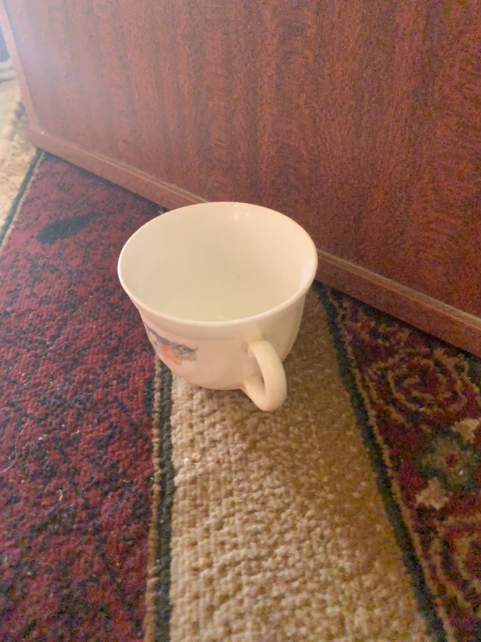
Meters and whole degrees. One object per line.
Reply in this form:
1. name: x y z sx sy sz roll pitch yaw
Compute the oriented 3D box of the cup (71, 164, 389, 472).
1. cup: -0.011 -0.011 0.211 0.082 0.053 0.110 -20 45 -20
